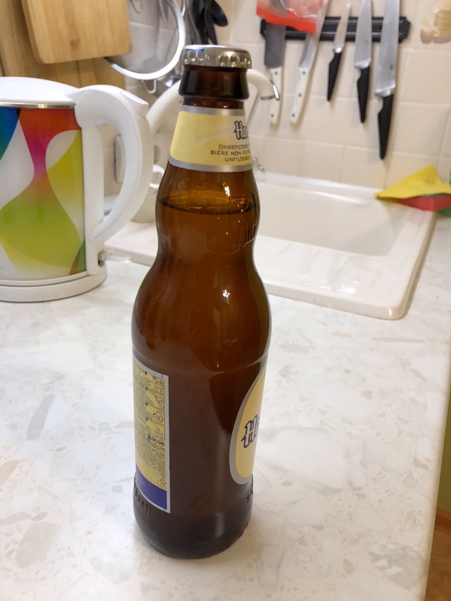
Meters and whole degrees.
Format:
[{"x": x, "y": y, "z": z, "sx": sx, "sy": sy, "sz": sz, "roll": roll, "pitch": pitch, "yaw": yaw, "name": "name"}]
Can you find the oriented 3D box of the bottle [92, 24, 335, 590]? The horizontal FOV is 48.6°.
[{"x": -0.018, "y": 0.014, "z": 0.242, "sx": 0.080, "sy": 0.248, "sz": 0.070, "roll": -3, "pitch": 24, "yaw": -15, "name": "bottle"}]
